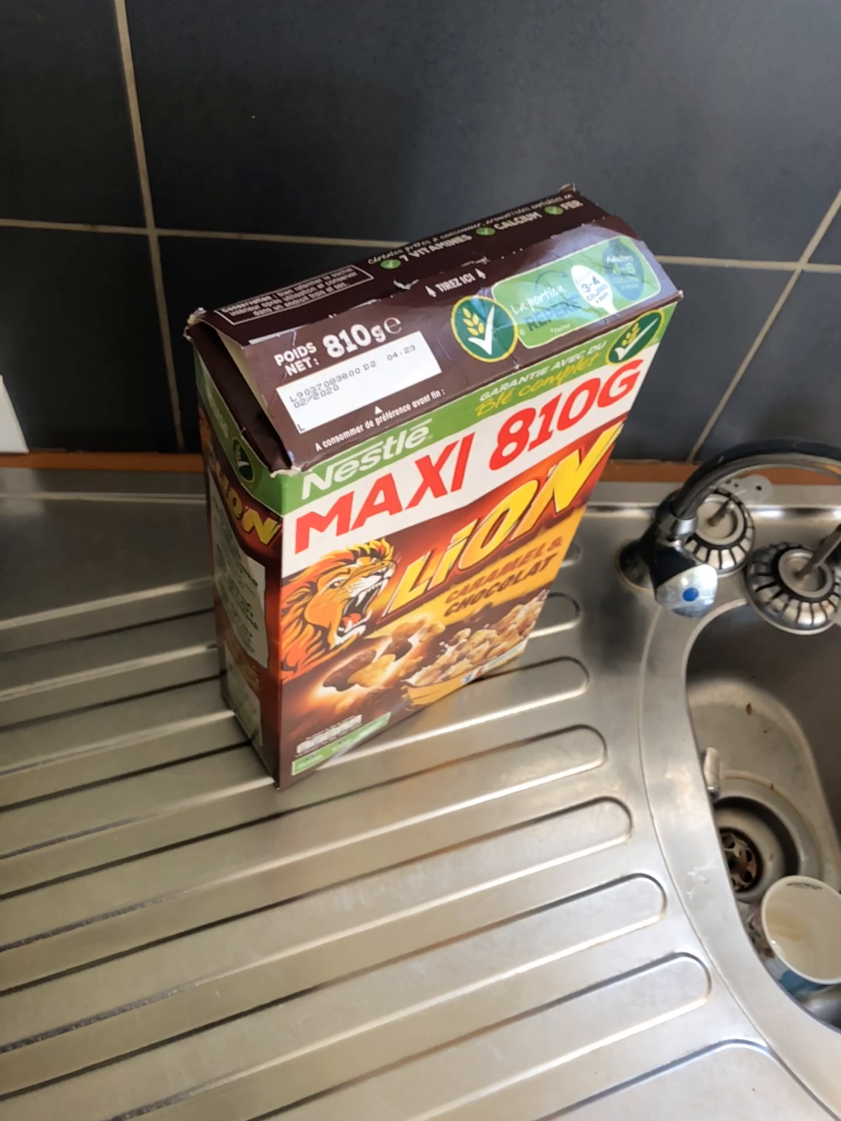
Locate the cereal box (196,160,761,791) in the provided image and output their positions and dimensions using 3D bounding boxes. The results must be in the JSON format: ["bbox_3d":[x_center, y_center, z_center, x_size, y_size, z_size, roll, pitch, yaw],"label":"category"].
[{"bbox_3d":[0.008,-0.017,0.475,0.201,0.319,0.080,-25,65,-22],"label":"cereal box"}]
